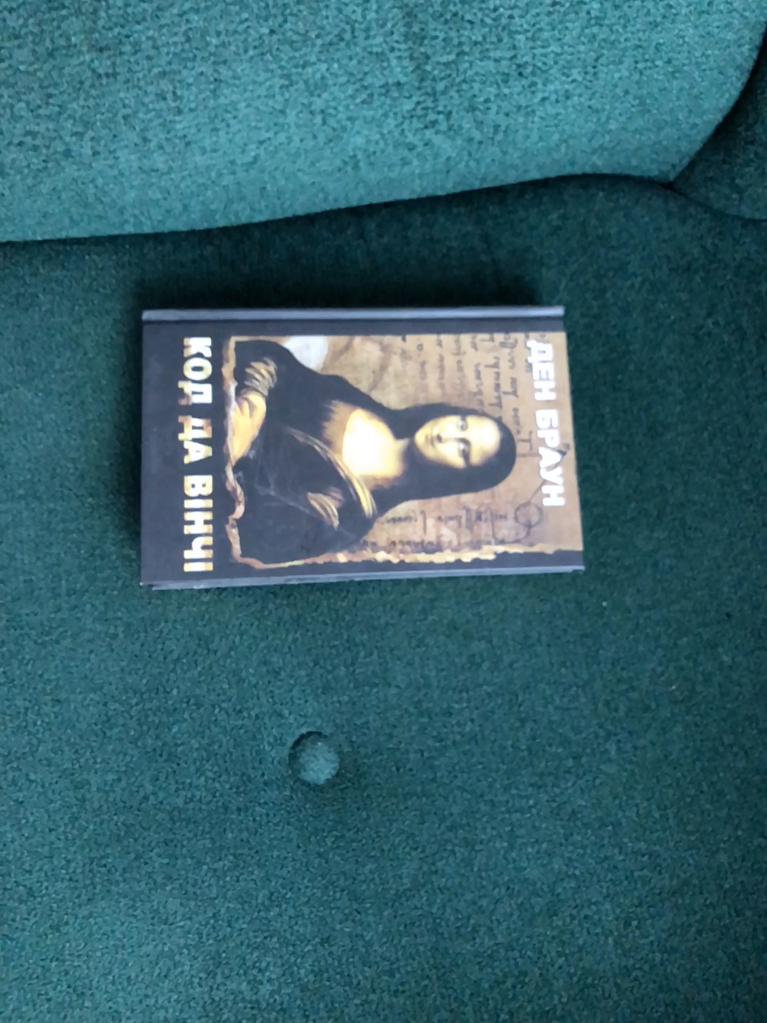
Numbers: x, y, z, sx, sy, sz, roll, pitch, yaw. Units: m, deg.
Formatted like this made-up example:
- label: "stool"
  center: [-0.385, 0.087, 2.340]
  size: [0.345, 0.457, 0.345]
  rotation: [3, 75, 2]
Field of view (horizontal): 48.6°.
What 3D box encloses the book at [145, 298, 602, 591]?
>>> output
- label: "book"
  center: [-0.006, -0.034, 0.416]
  size: [0.209, 0.030, 0.135]
  rotation: [-2, 79, -4]
